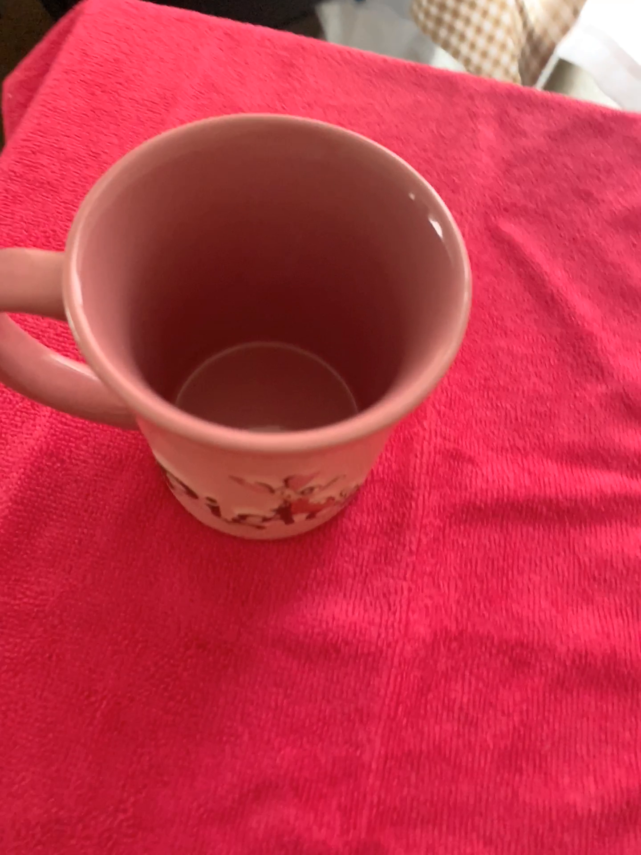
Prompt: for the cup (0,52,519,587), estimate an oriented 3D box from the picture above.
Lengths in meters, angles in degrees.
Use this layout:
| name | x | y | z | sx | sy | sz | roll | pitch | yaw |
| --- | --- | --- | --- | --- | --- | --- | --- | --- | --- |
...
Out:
| name | x | y | z | sx | sy | sz | roll | pitch | yaw |
| --- | --- | --- | --- | --- | --- | --- | --- | --- | --- |
| cup | -0.026 | -0.018 | 0.193 | 0.130 | 0.109 | 0.090 | 9 | 66 | -1 |
